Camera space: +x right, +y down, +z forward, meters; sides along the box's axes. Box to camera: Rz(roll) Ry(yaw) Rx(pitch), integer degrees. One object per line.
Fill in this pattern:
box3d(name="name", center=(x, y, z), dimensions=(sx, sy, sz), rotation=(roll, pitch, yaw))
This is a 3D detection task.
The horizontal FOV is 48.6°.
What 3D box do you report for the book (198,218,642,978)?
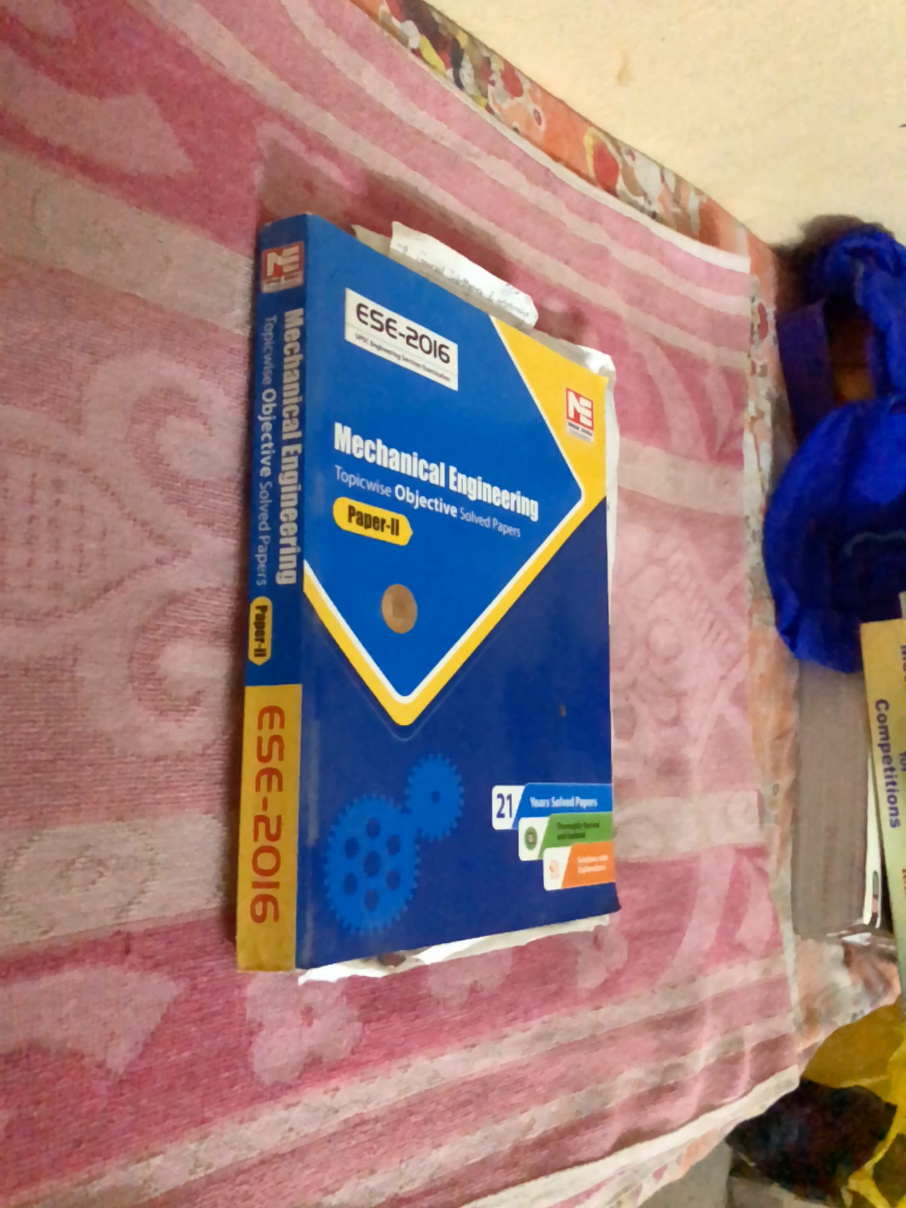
box3d(name="book", center=(0.000, 0.006, 0.448), dimensions=(0.216, 0.055, 0.270), rotation=(11, 75, -48))
